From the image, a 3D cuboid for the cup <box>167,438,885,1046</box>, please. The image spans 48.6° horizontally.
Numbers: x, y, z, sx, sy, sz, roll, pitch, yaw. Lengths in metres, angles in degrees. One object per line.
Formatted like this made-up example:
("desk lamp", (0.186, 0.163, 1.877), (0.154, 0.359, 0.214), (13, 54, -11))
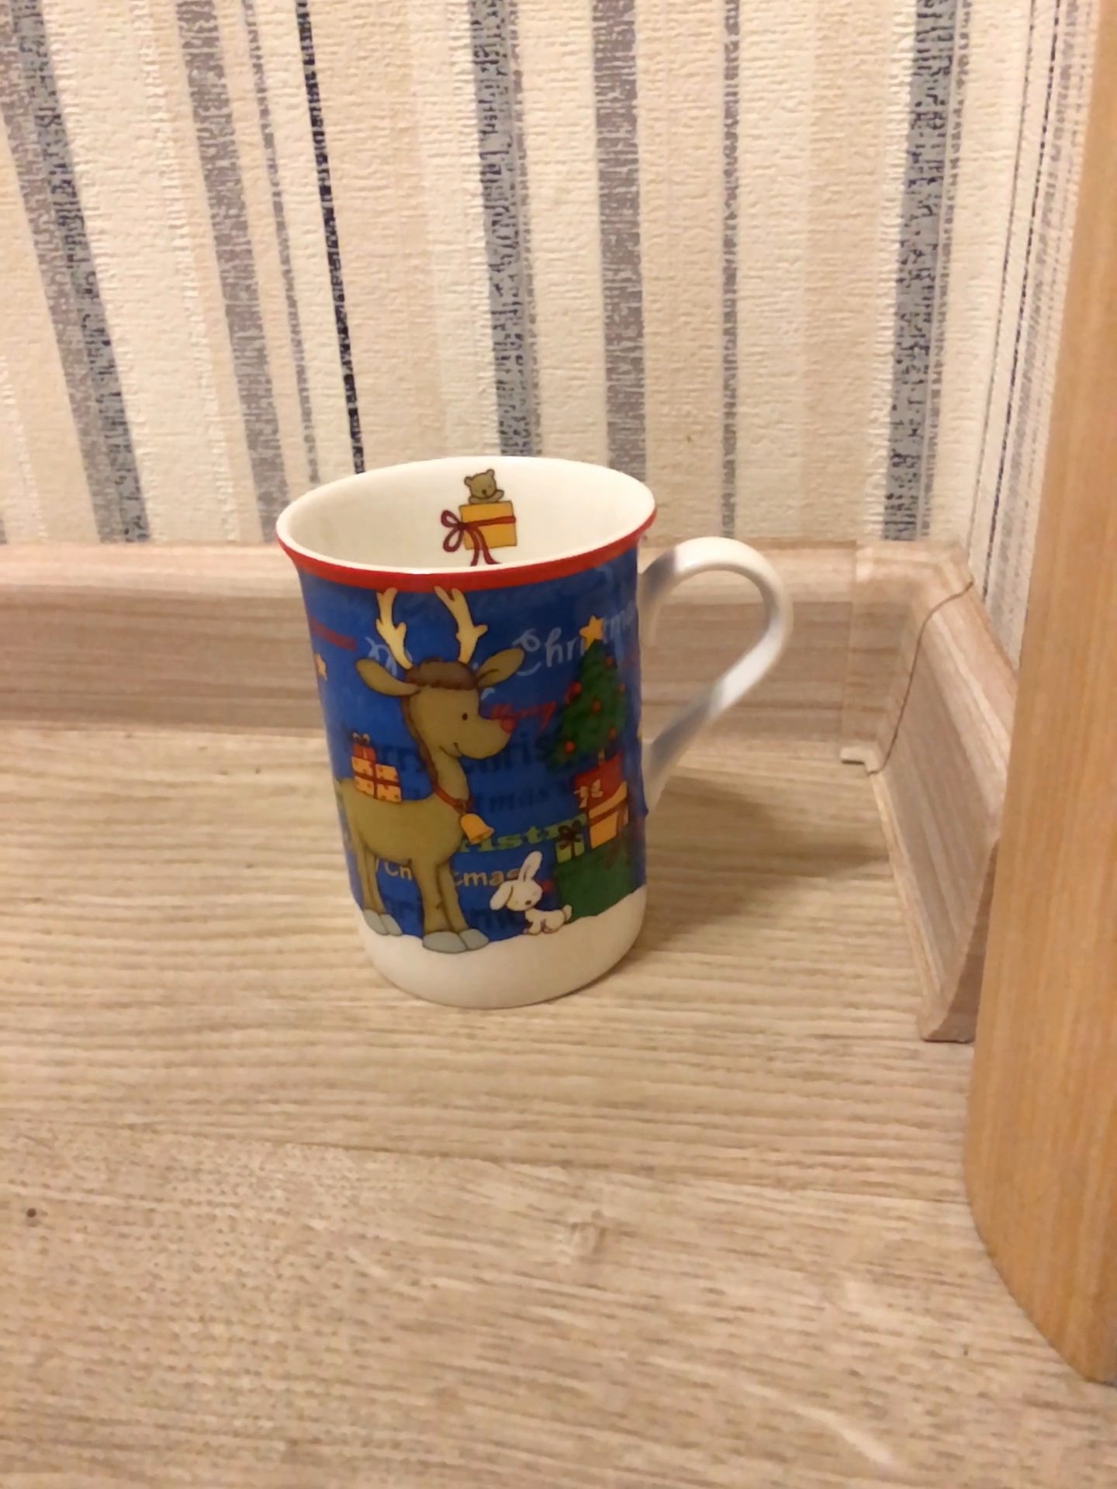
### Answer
("cup", (-0.005, -0.005, 0.267), (0.120, 0.094, 0.088), (-4, 26, -1))
